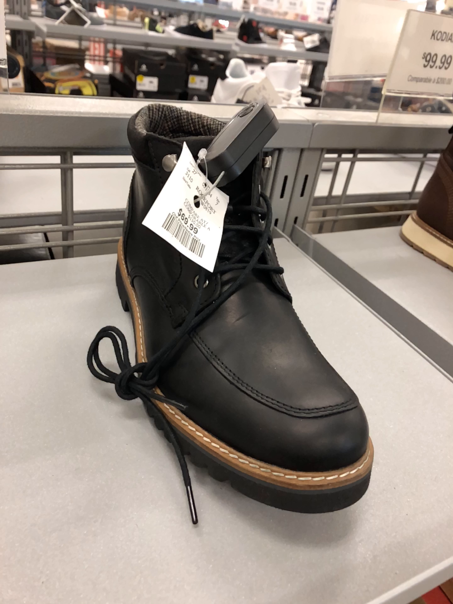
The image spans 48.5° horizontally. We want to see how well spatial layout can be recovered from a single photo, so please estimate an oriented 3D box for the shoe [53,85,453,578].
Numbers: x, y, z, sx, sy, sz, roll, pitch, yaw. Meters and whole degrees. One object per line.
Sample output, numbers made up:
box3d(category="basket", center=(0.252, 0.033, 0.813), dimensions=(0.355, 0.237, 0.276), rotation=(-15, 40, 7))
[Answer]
box3d(category="shoe", center=(-0.012, -0.019, 0.316), dimensions=(0.120, 0.139, 0.282), rotation=(-10, 41, -29))
